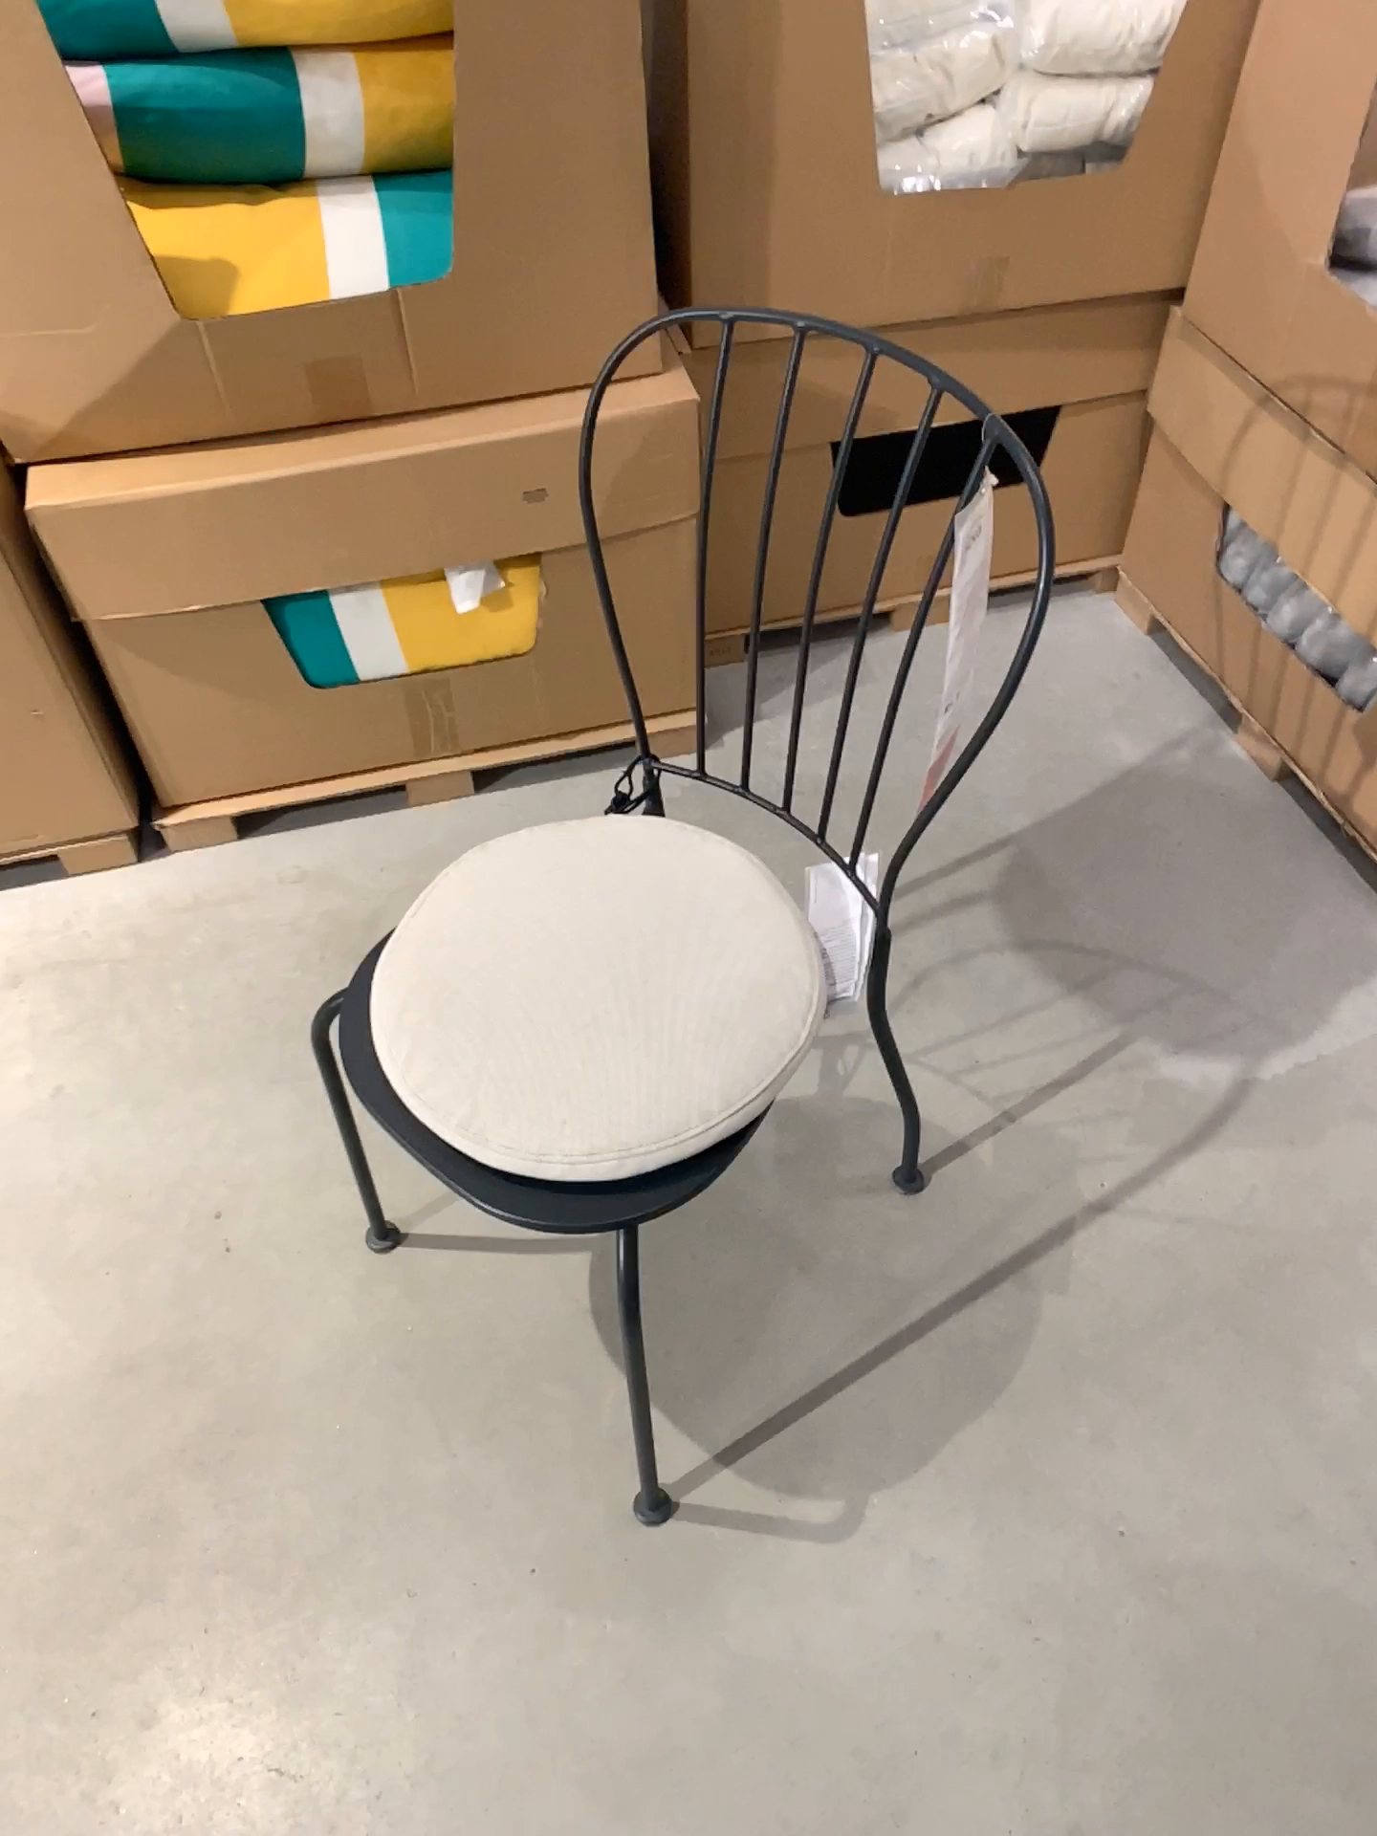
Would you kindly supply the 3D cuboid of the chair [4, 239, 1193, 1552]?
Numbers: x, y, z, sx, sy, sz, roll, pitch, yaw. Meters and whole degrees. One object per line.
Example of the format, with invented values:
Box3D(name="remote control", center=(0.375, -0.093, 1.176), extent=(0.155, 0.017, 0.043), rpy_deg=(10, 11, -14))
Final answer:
Box3D(name="chair", center=(-0.043, 0.019, 1.144), extent=(0.481, 0.817, 0.521), rpy_deg=(37, 59, 28))
